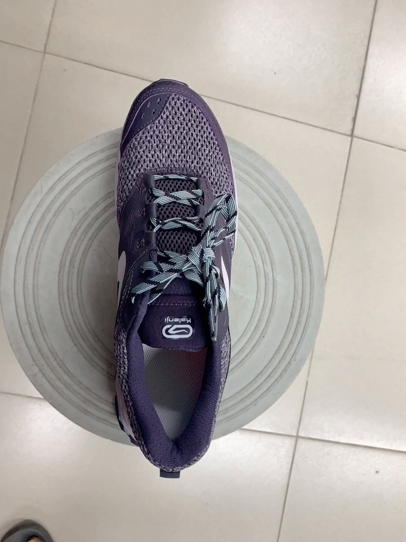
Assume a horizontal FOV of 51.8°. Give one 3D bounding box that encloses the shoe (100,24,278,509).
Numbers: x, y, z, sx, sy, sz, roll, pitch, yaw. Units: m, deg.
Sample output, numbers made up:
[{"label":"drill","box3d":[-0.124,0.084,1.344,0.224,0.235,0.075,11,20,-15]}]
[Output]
[{"label":"shoe","box3d":[-0.015,-0.001,0.312,0.100,0.110,0.290,2,89,-9]}]
